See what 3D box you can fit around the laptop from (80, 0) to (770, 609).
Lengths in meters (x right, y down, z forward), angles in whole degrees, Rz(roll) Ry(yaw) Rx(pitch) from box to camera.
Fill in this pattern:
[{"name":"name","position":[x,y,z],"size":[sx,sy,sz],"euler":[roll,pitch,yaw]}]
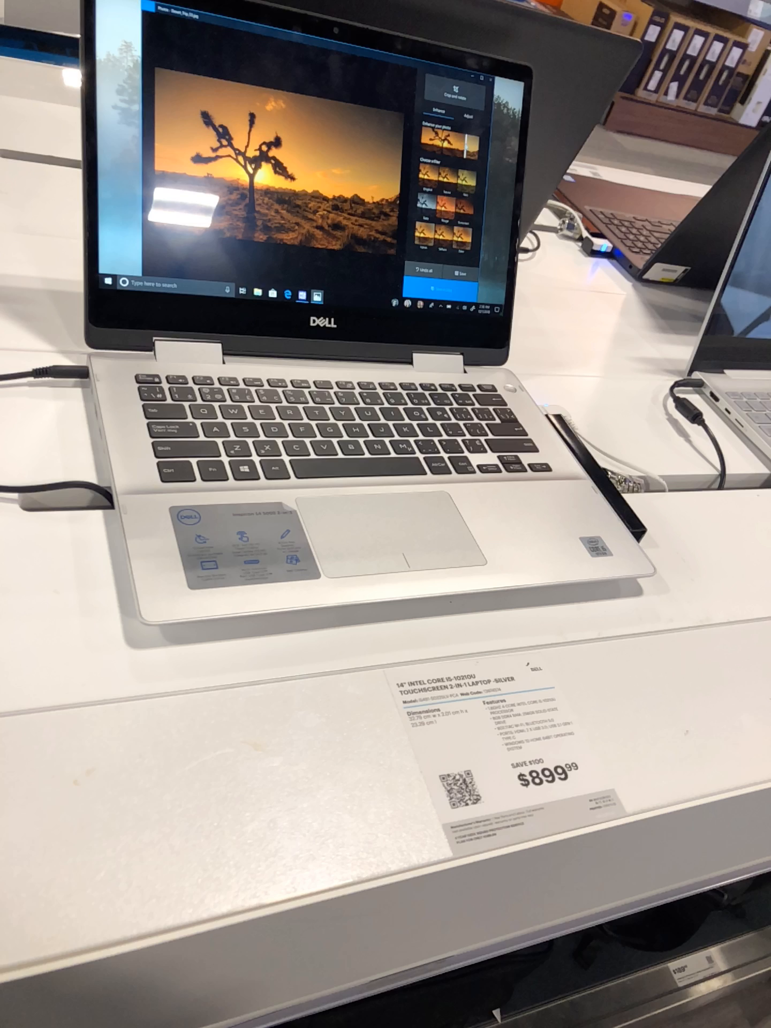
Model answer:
[{"name":"laptop","position":[0.000,-0.138,0.516],"size":[0.311,0.195,0.328],"euler":[-2,43,-24]}]
